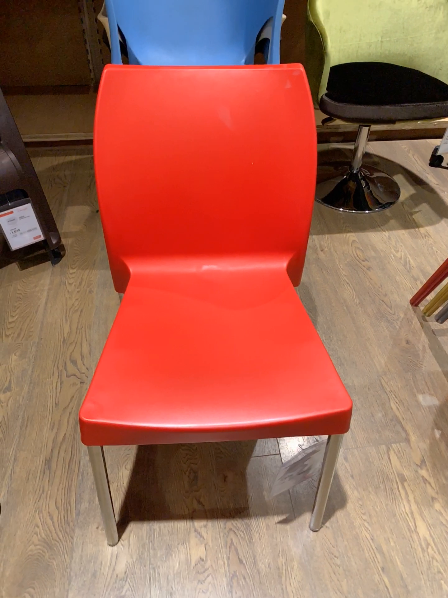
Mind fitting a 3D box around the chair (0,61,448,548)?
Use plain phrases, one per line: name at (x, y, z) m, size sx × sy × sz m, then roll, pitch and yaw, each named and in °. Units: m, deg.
chair at (-0.009, 0.033, 0.940) m, size 0.530 × 0.777 × 0.622 m, roll -1°, pitch 45°, yaw -3°
